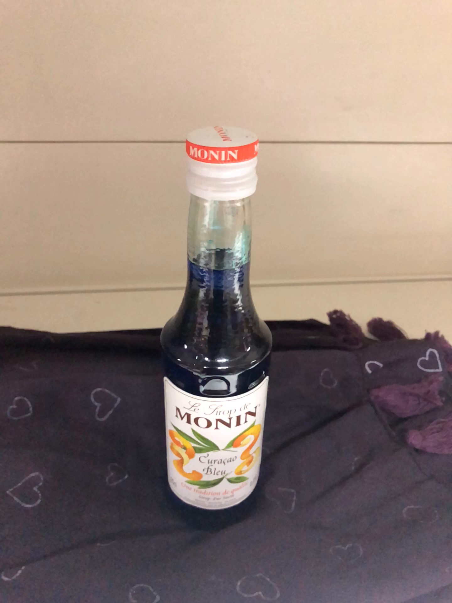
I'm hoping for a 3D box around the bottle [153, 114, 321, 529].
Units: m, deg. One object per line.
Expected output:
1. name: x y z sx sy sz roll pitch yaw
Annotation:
1. bottle: -0.001 0.021 0.252 0.060 0.209 0.050 -1 30 -6
